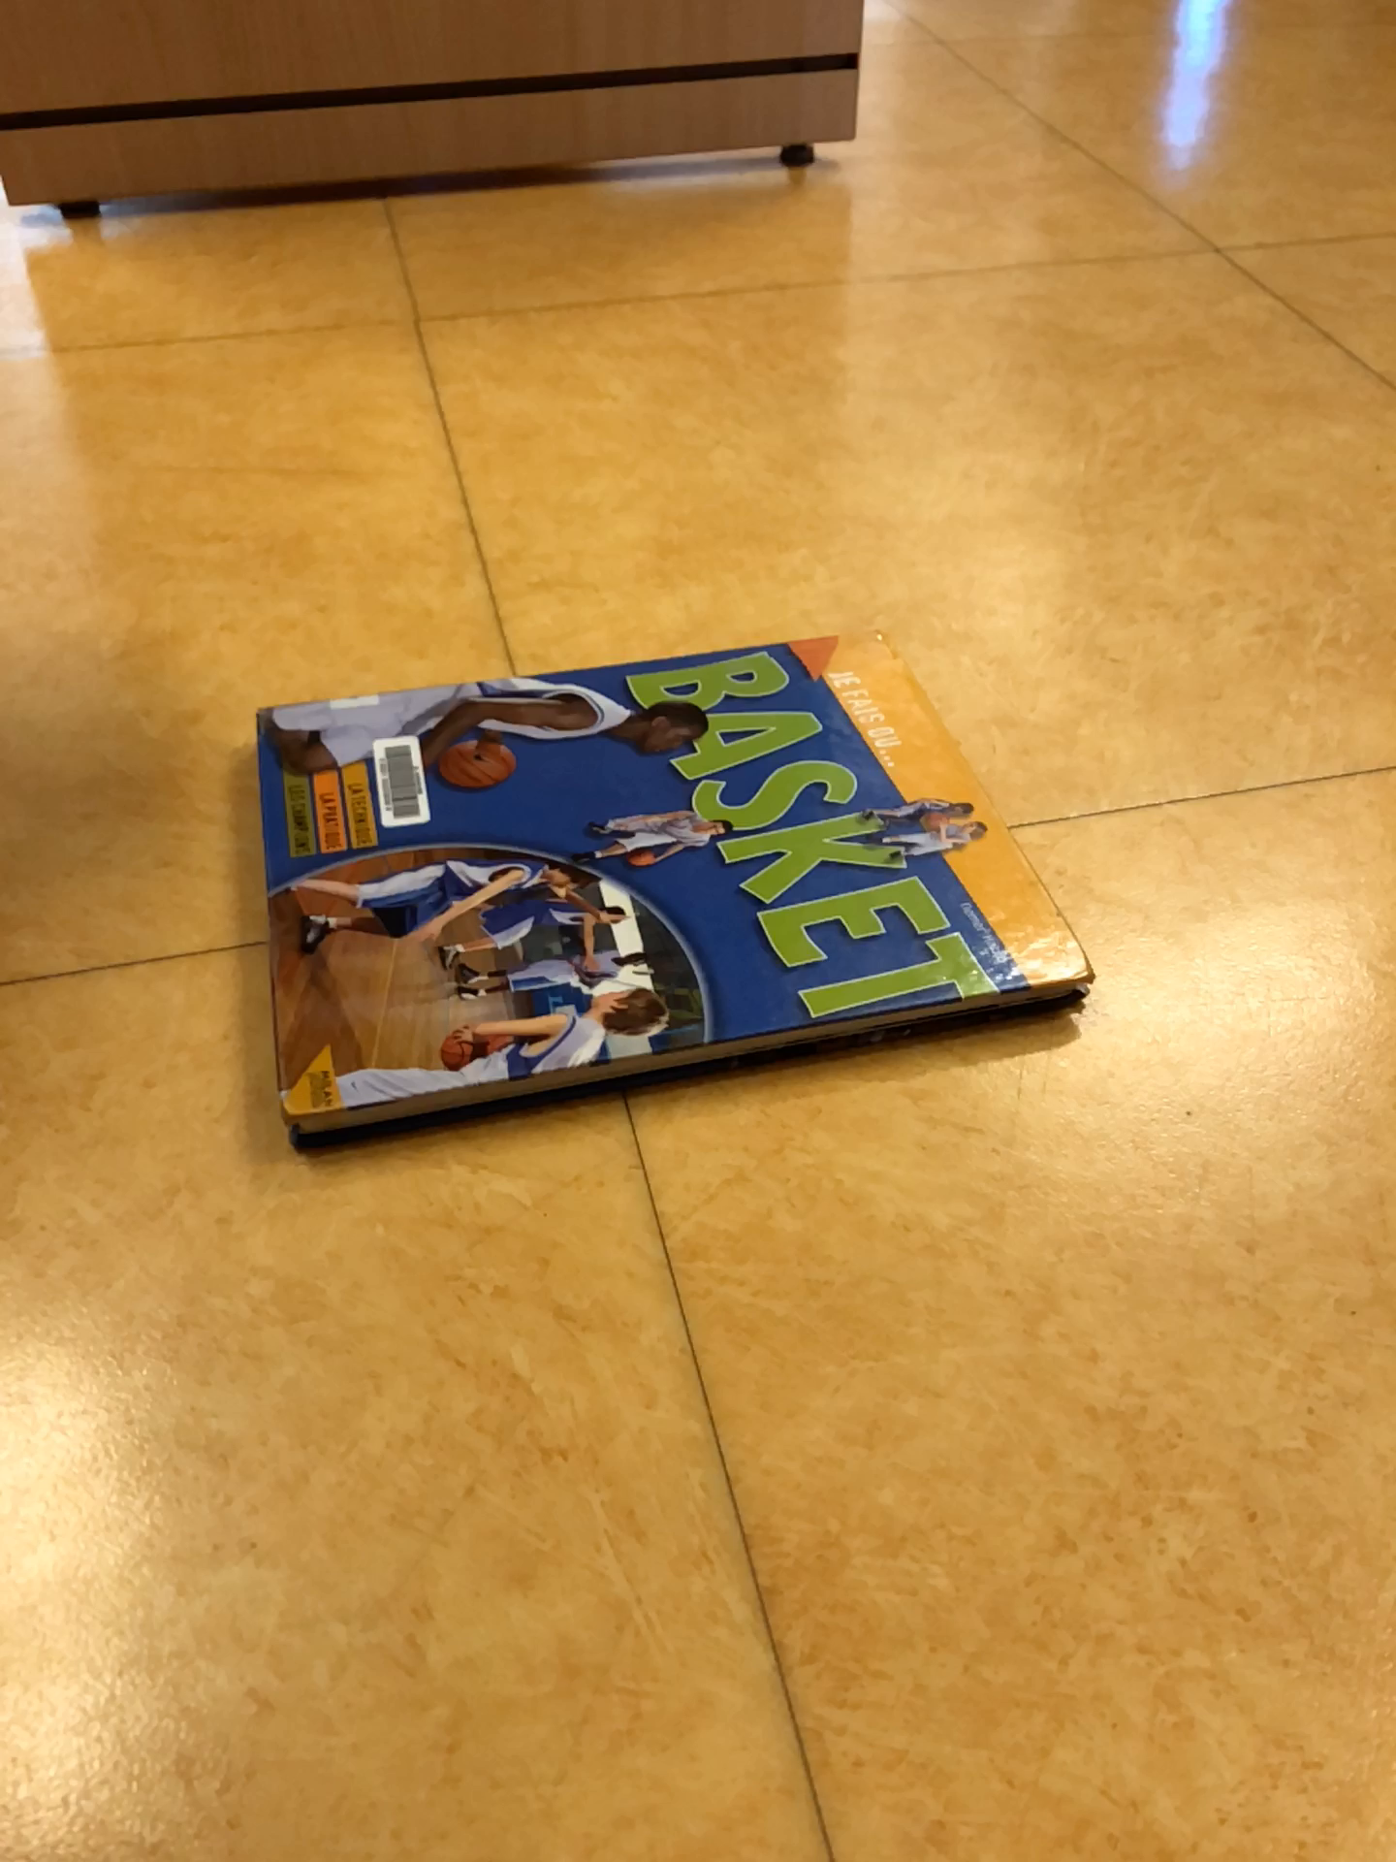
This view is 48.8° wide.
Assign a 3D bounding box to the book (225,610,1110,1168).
[{"bbox_3d":[-0.025,-0.031,0.523,0.257,0.020,0.211,-9,44,-11],"label":"book"}]
